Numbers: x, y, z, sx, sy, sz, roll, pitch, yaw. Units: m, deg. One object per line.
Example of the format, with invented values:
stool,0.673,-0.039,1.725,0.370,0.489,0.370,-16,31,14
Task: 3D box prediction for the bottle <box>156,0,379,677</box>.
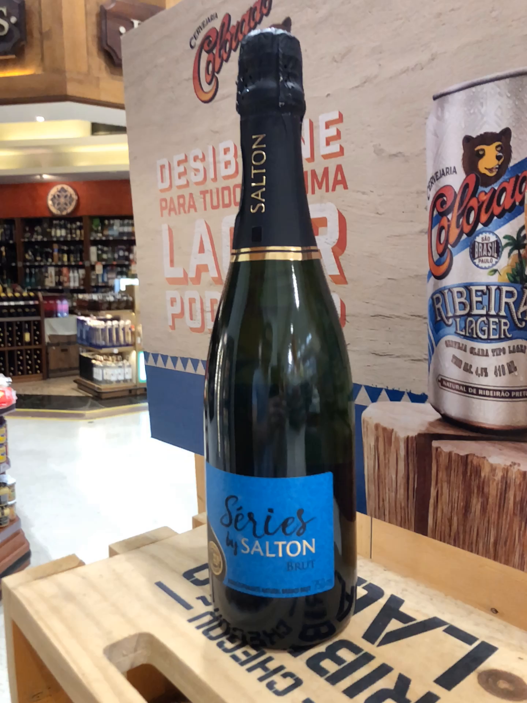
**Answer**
bottle,0.007,-0.013,0.309,0.090,0.319,0.080,2,7,21
